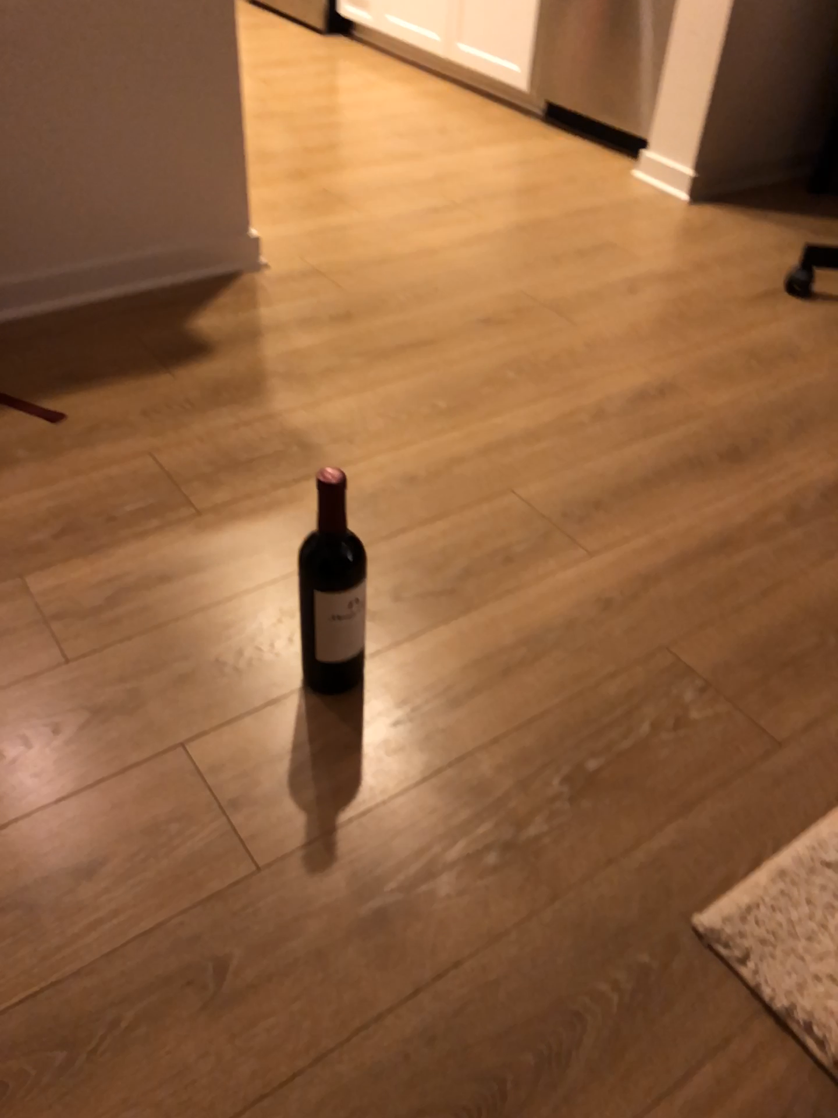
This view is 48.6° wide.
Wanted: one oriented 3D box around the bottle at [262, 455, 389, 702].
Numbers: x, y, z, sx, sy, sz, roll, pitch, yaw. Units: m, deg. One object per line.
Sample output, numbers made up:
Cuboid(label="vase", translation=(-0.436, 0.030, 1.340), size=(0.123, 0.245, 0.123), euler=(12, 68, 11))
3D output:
Cuboid(label="bottle", translation=(-0.105, 0.027, 1.044), size=(0.110, 0.258, 0.101), euler=(2, 40, -2))
